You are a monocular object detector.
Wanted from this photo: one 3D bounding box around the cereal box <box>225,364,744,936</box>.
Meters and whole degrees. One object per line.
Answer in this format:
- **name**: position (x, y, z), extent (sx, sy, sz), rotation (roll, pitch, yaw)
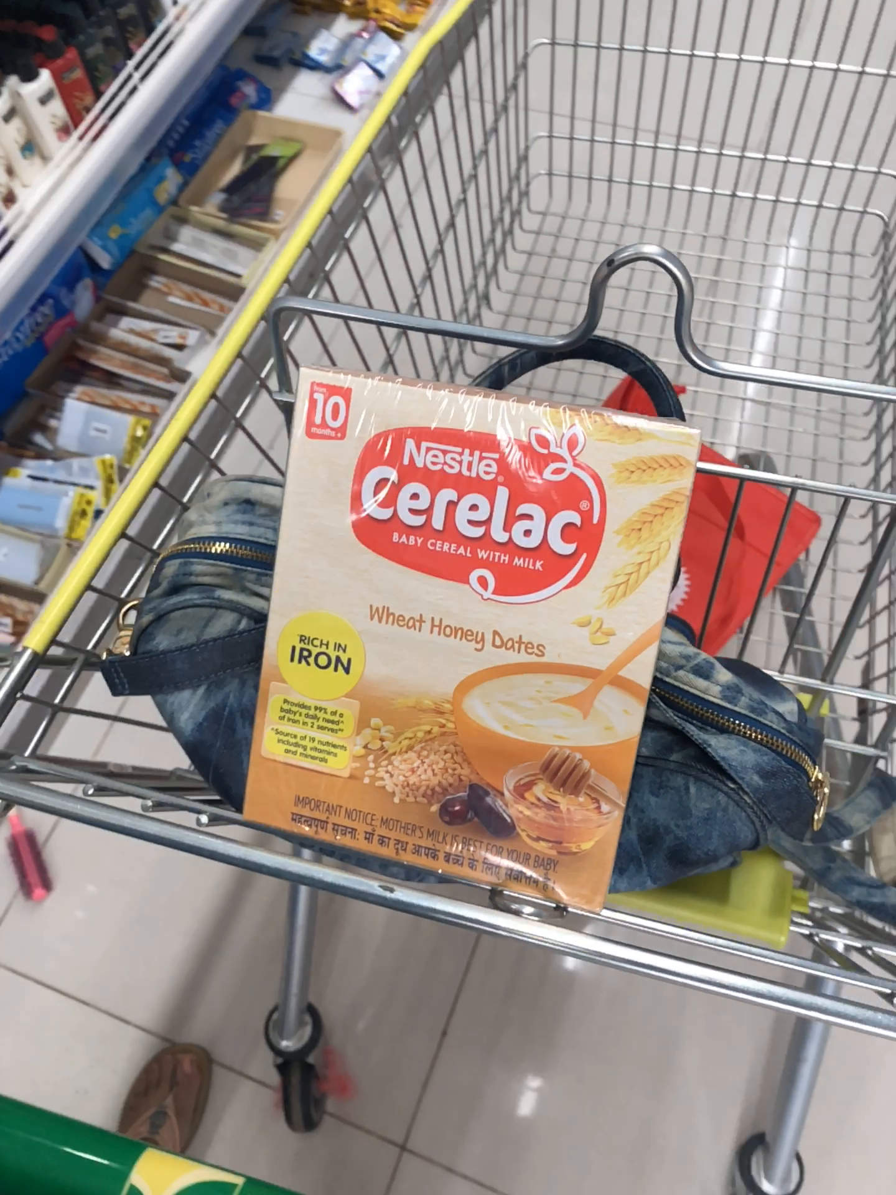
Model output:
- **cereal box**: position (0.012, 0.016, 0.406), extent (0.170, 0.060, 0.190), rotation (11, 101, 11)
